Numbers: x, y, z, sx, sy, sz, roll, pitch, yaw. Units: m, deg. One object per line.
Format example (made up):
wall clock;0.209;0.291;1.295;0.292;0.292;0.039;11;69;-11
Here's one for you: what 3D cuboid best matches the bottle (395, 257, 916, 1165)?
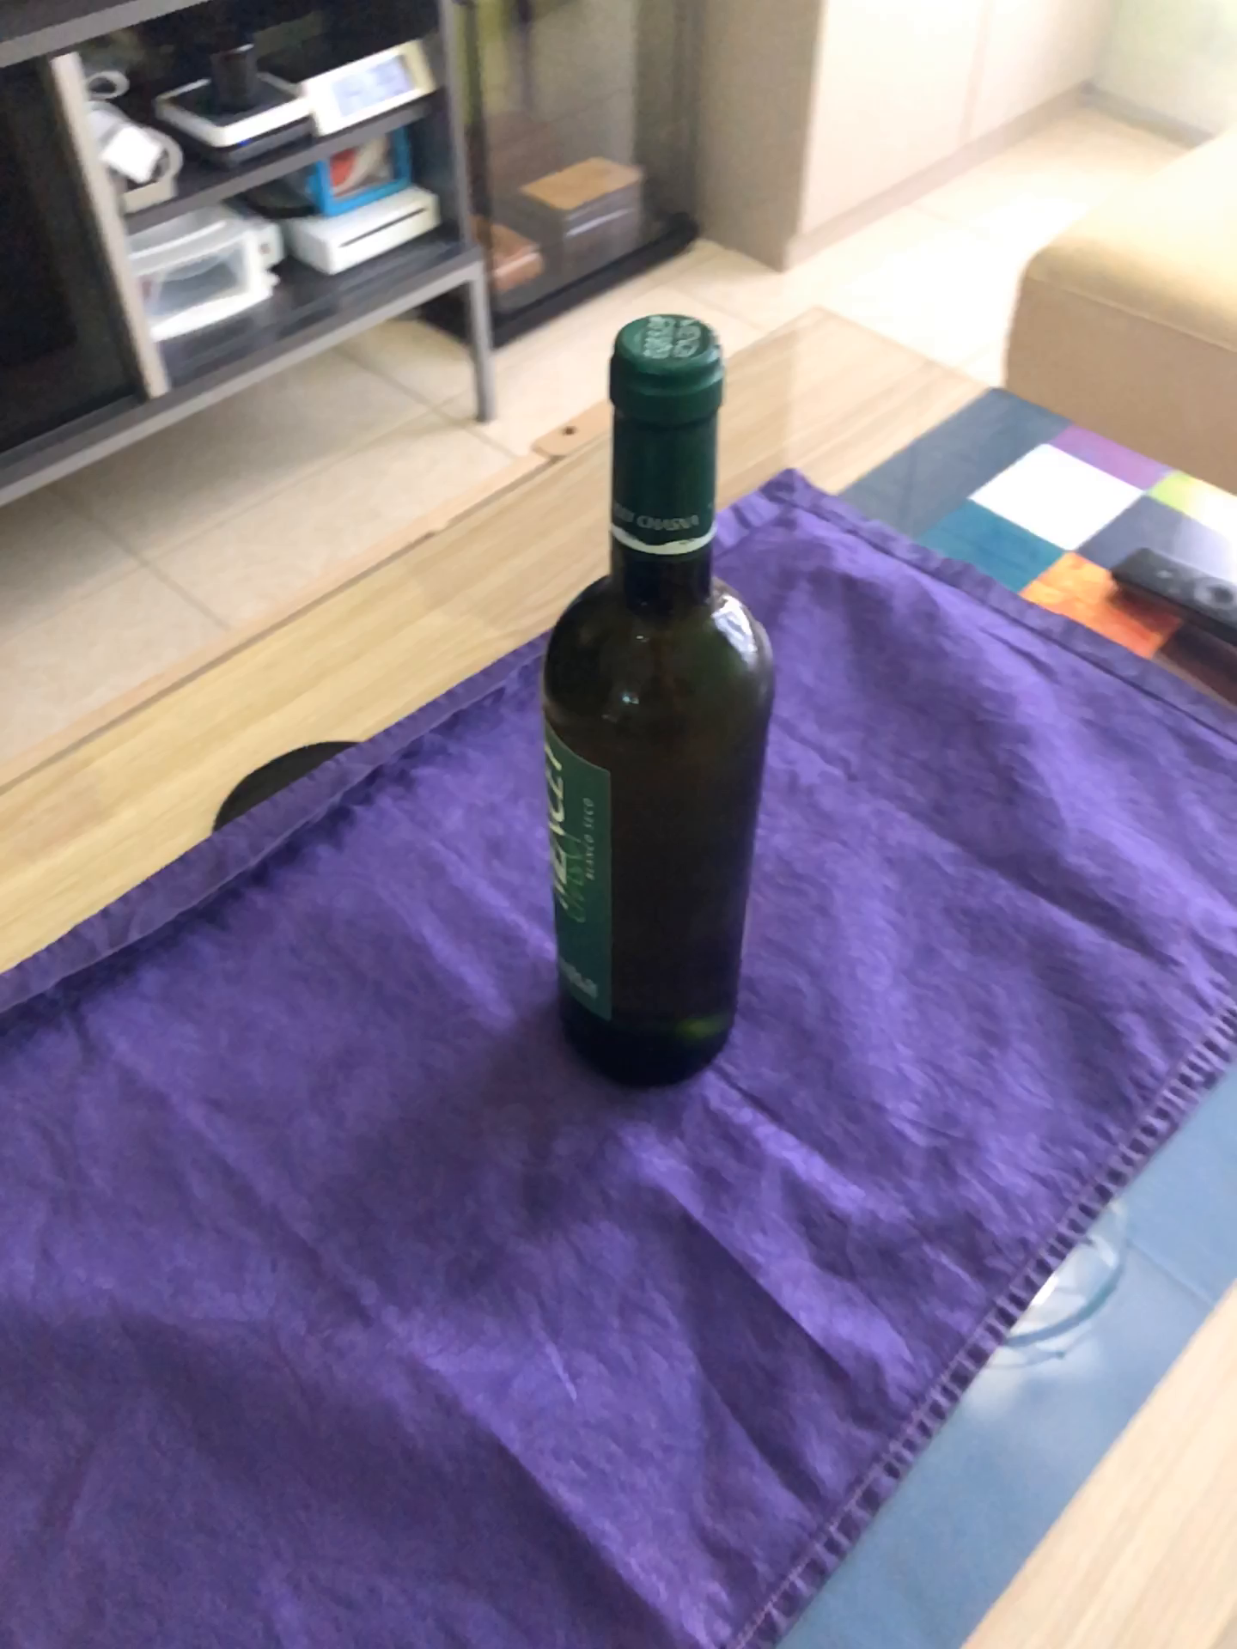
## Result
bottle;0.006;-0.013;0.416;0.090;0.269;0.090;0;49;0
